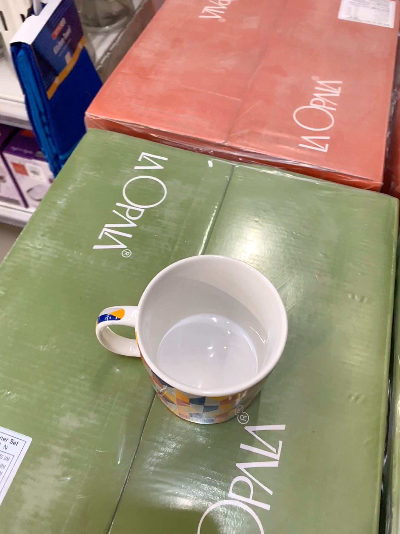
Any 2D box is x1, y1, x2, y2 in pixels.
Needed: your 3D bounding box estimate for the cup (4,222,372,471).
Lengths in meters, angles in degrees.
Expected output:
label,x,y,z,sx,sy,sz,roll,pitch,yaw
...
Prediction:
label,x,y,z,sx,sy,sz,roll,pitch,yaw
cup,-0.004,0.046,0.212,0.130,0.100,0.090,2,58,0
